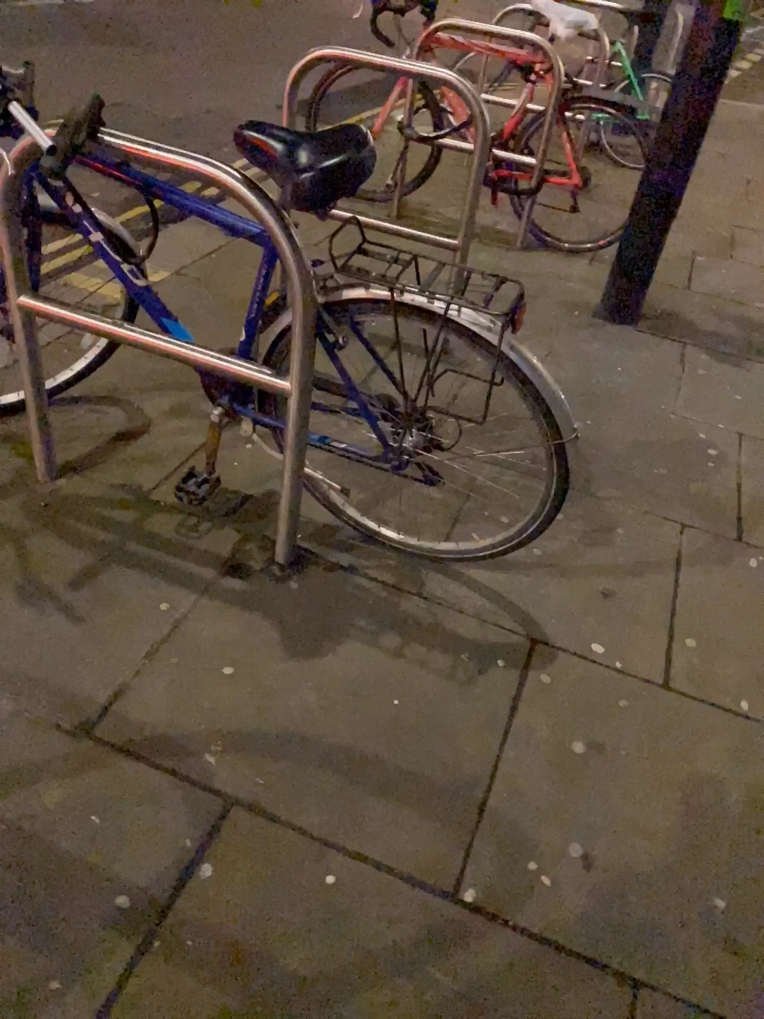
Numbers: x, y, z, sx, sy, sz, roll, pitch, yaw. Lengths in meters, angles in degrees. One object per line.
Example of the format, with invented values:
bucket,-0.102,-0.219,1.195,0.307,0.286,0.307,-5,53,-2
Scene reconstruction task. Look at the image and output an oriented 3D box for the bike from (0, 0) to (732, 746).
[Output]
bike,-0.364,-0.370,1.471,1.594,1.108,0.659,15,39,4
